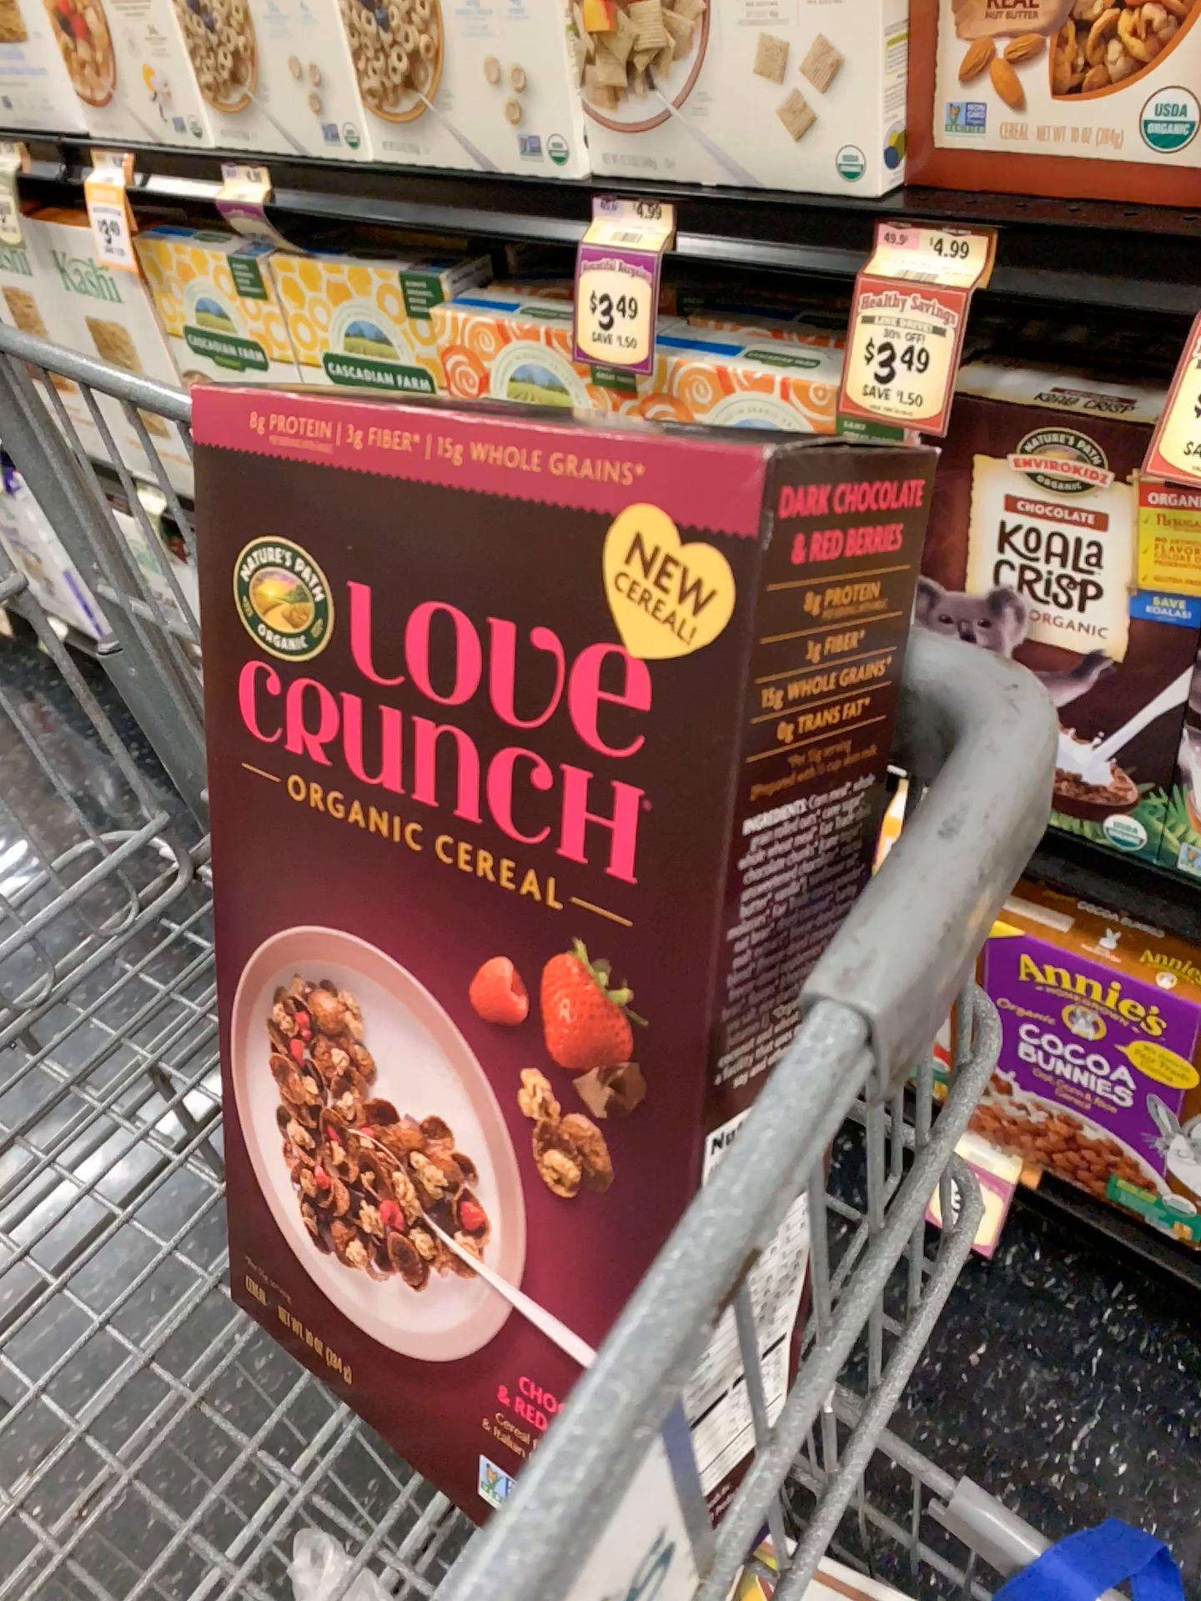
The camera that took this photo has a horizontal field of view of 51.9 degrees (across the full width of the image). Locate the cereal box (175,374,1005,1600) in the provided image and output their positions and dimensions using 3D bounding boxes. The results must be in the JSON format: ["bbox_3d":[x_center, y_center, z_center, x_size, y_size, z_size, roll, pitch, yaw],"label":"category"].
[{"bbox_3d":[-0.018,0.041,0.280,0.160,0.249,0.060,20,26,37],"label":"cereal box"}]
